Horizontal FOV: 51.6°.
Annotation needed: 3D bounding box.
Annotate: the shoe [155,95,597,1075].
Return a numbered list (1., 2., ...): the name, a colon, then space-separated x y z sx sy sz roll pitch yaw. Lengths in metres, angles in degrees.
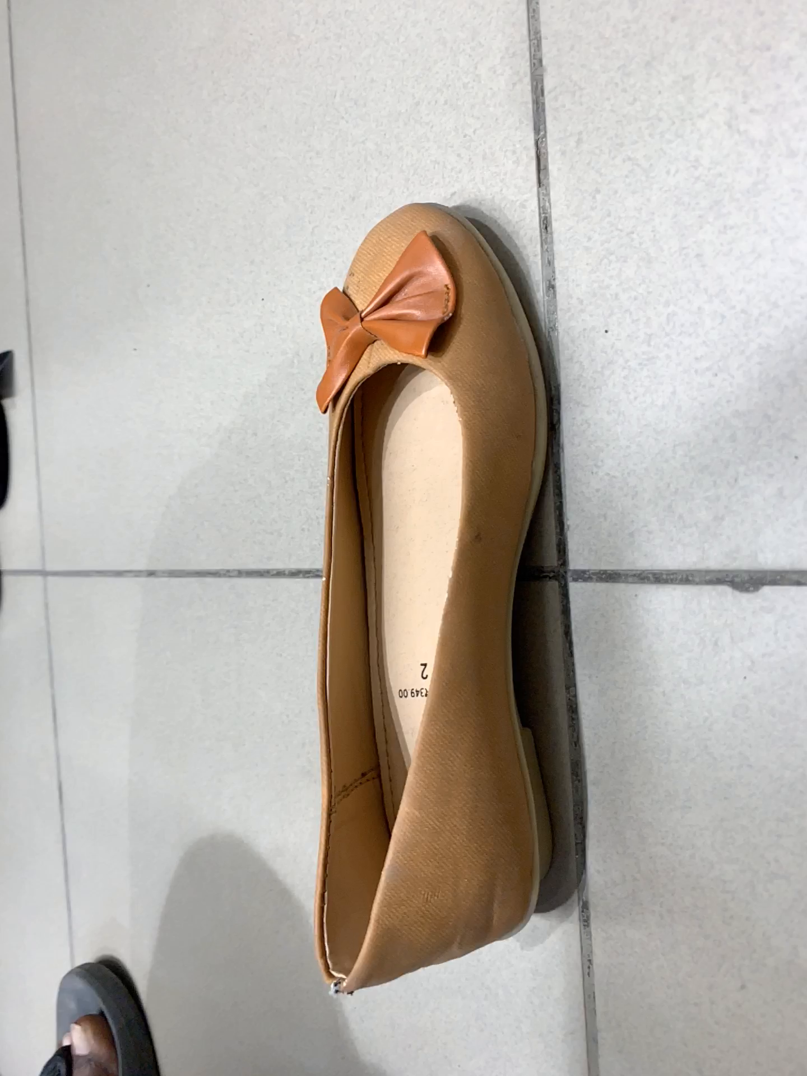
1. shoe: -0.009 0.016 0.230 0.081 0.070 0.220 -5 90 47
